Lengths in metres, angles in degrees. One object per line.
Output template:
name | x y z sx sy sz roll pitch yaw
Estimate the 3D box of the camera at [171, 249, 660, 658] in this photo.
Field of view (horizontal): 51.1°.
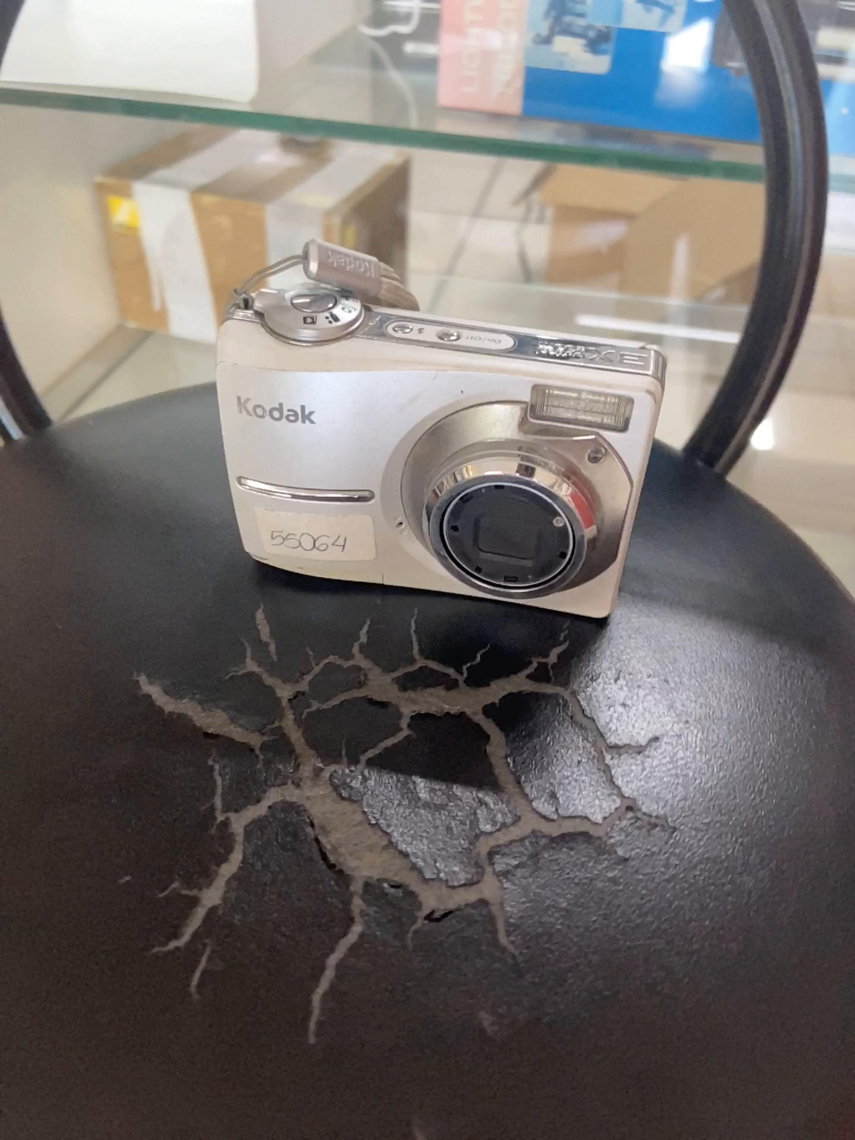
camera | -0.001 -0.026 0.200 0.090 0.070 0.040 8 40 7
